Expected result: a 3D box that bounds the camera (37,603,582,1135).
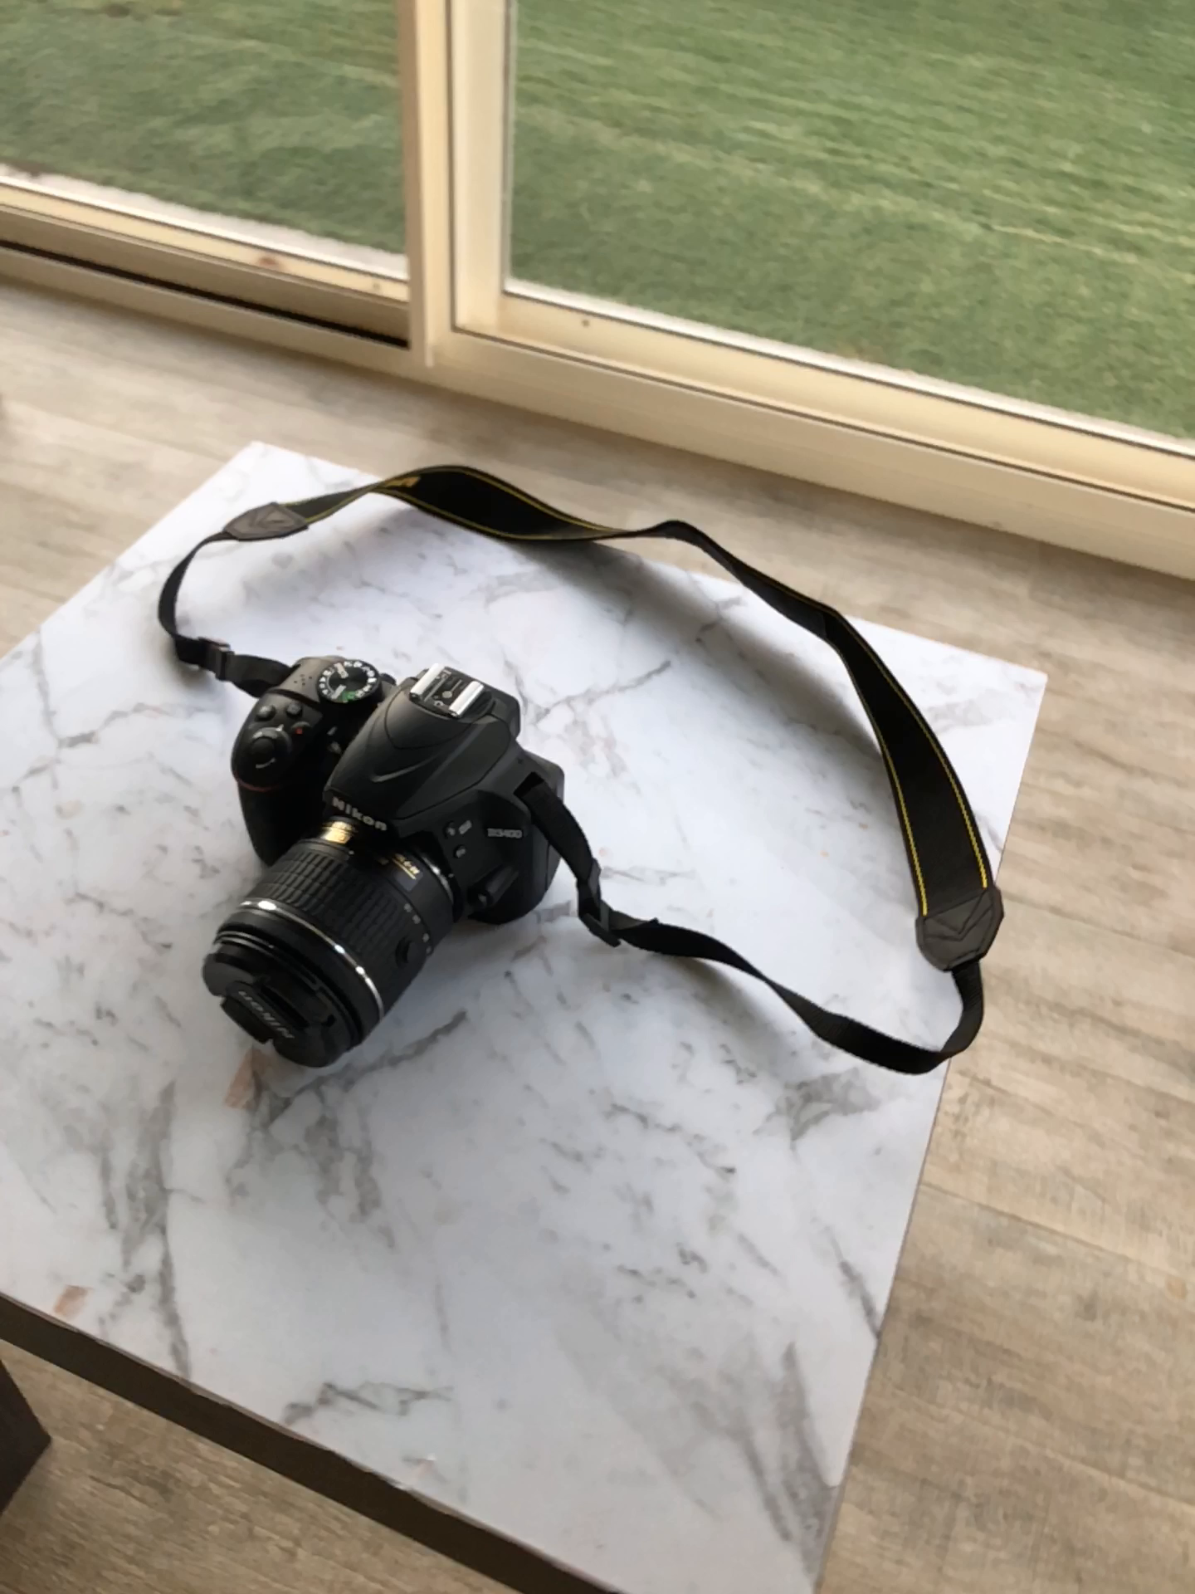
[{"bbox_3d":[-0.092,0.020,0.467,0.121,0.076,0.138,22,51,16],"label":"camera"}]
